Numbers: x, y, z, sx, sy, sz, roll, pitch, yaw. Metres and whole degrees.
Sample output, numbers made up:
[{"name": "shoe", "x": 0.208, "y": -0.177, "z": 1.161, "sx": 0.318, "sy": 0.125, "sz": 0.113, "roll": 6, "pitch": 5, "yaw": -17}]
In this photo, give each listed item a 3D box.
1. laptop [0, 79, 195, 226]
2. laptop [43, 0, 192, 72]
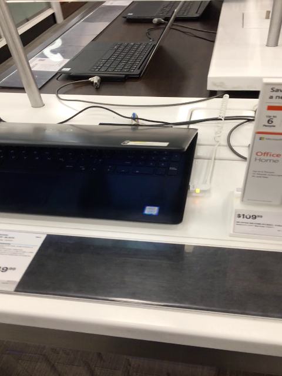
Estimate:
[{"name": "laptop", "x": -0.142, "y": -0.076, "z": 0.602, "sx": 0.429, "sy": 0.107, "sz": 0.245, "roll": 4, "pitch": 43, "yaw": 11}, {"name": "laptop", "x": -0.044, "y": -0.453, "z": 1.042, "sx": 0.340, "sy": 0.159, "sz": 0.263, "roll": 4, "pitch": 43, "yaw": 13}]
